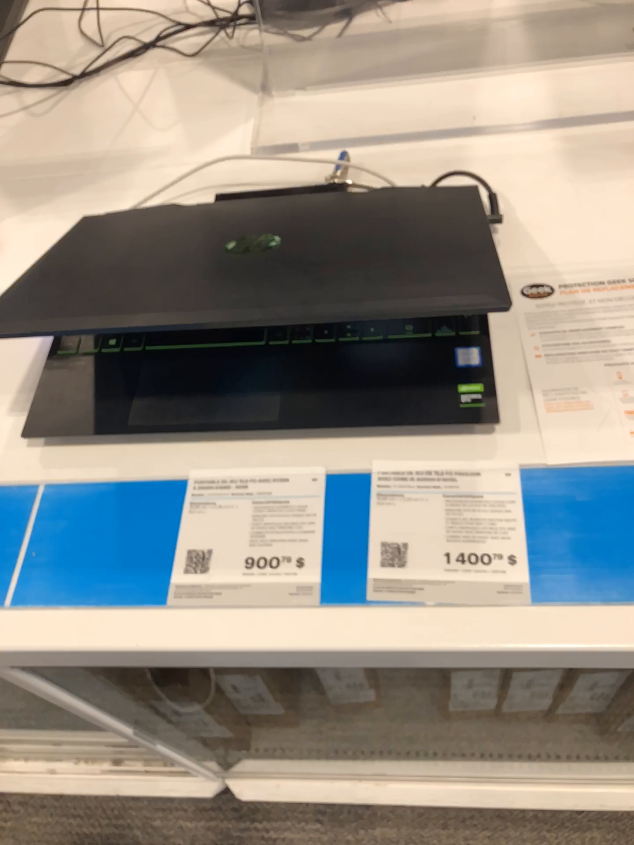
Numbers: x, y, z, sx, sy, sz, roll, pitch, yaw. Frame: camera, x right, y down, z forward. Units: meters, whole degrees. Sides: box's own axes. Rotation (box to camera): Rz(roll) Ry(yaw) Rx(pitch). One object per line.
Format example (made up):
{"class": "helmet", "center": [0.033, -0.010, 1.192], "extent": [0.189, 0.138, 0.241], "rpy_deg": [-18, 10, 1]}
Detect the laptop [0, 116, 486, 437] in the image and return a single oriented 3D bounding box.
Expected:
{"class": "laptop", "center": [-0.055, -0.112, 0.539], "extent": [0.339, 0.064, 0.221], "rpy_deg": [-3, 61, 8]}
